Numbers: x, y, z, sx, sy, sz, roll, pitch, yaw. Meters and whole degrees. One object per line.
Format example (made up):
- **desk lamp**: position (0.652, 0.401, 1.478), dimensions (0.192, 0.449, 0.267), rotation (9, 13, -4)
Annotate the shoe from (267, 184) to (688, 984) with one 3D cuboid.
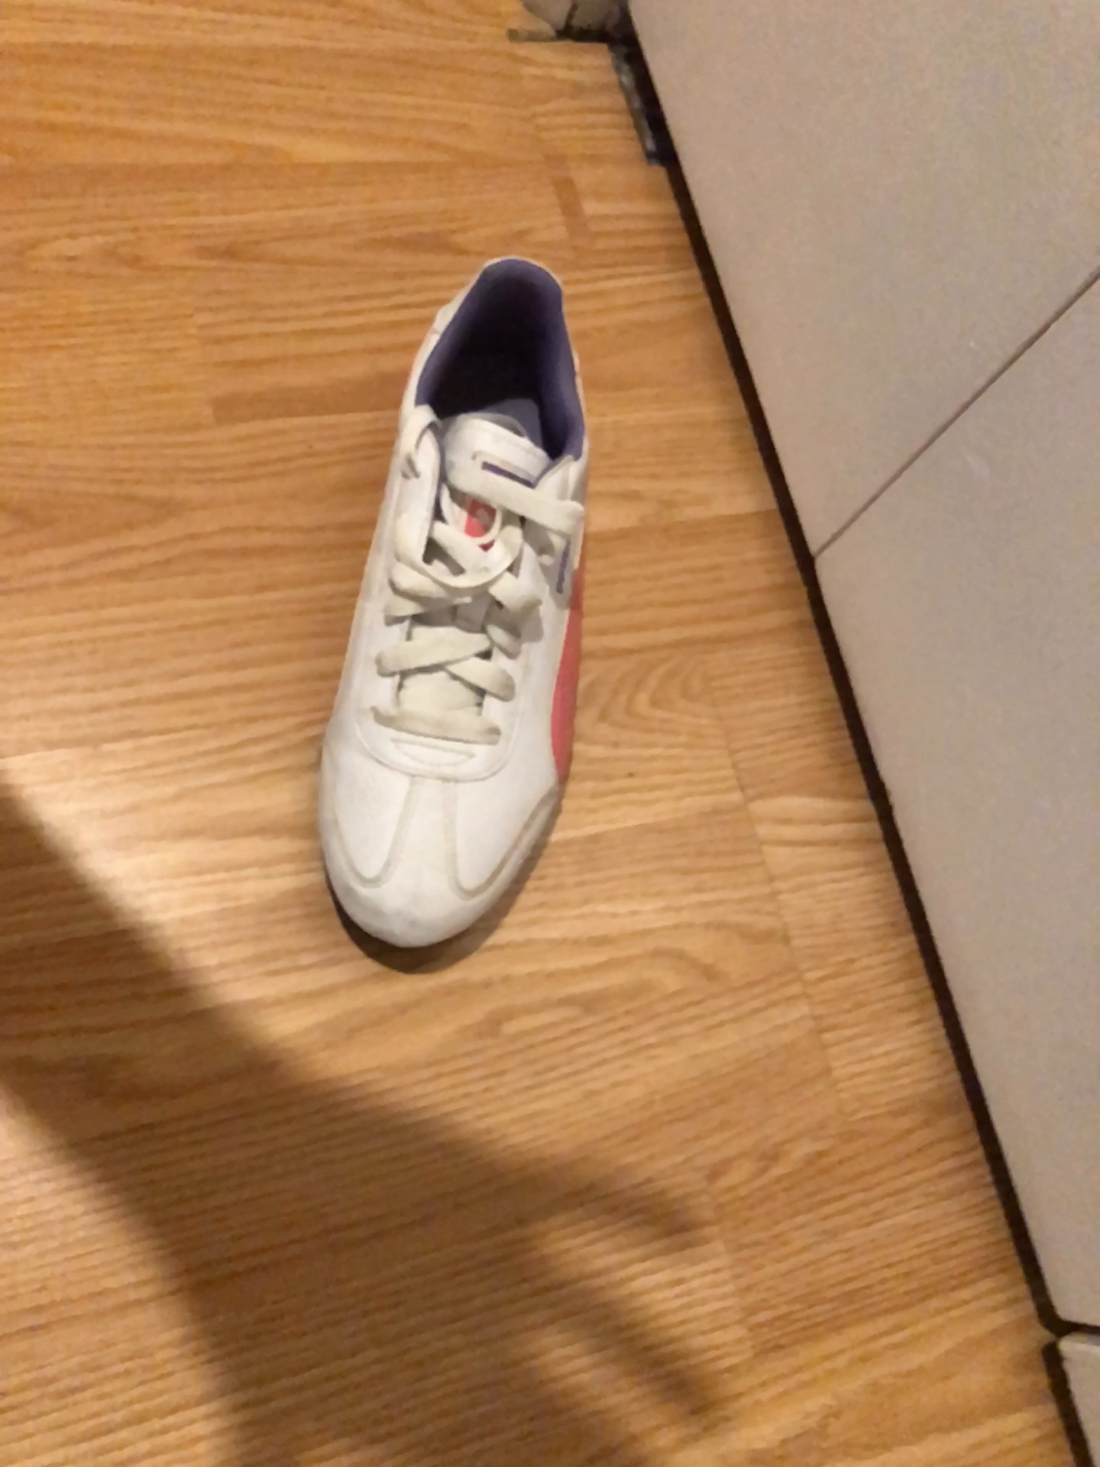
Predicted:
- **shoe**: position (-0.023, -0.054, 0.439), dimensions (0.100, 0.080, 0.260), rotation (12, 68, -12)
